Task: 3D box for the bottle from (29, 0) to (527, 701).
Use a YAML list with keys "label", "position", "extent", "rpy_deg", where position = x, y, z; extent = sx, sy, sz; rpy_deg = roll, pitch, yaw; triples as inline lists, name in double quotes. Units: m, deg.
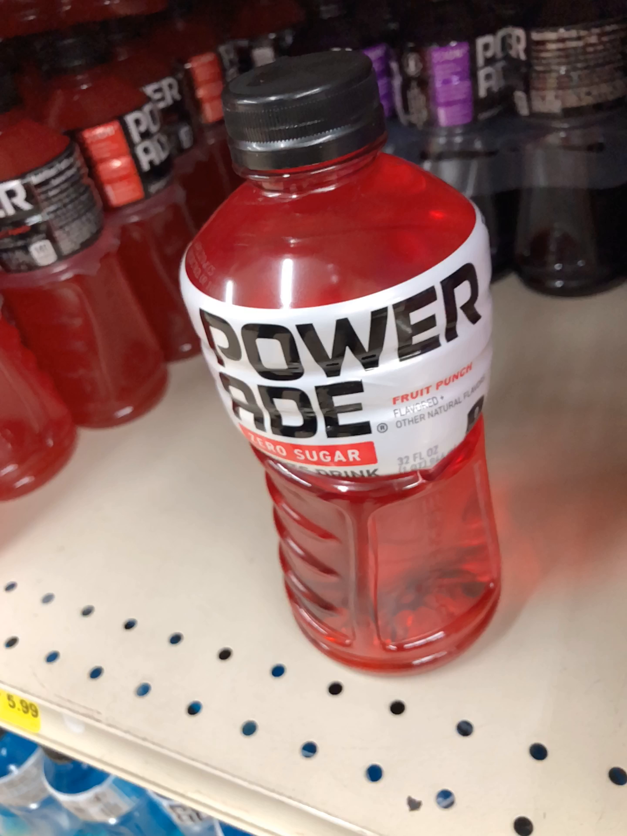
- label: "bottle"
  position: [0.016, -0.011, 0.225]
  extent: [0.095, 0.189, 0.095]
  rpy_deg: [-8, 39, 7]
